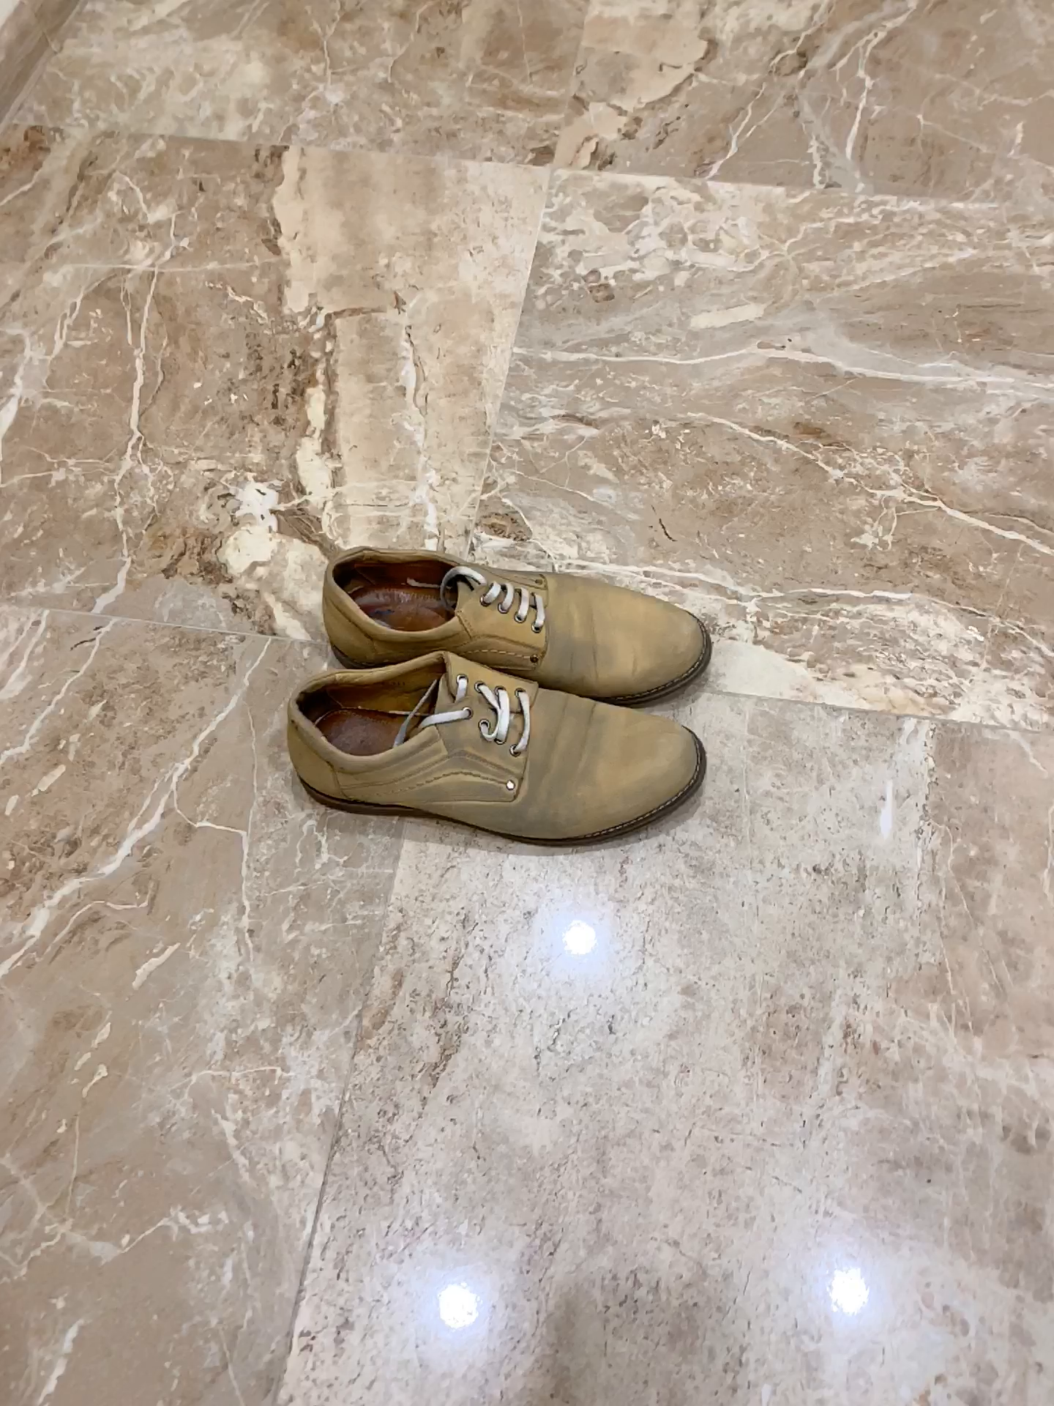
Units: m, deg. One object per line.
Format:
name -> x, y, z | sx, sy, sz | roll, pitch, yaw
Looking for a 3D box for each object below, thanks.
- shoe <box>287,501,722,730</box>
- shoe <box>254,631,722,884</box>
shoe -> -0.012, -0.062, 0.758 | 0.280, 0.070, 0.110 | 7, 61, 4
shoe -> -0.021, 0.036, 0.711 | 0.280, 0.080, 0.110 | 7, 61, 4
